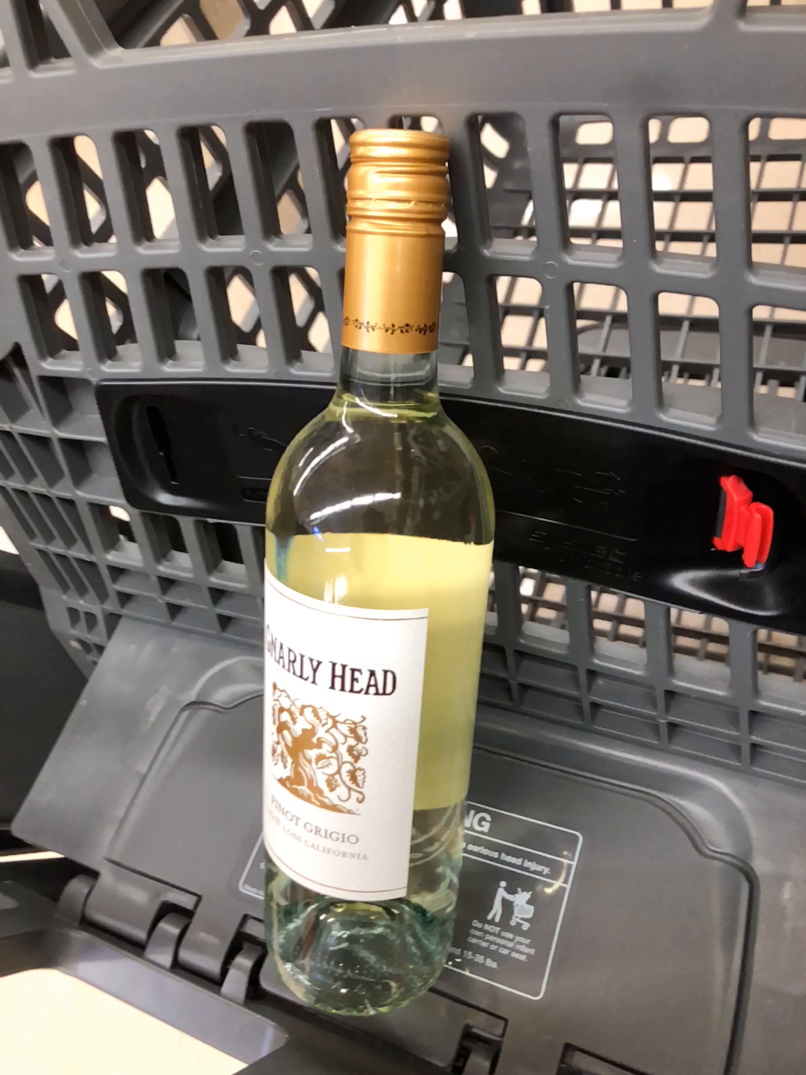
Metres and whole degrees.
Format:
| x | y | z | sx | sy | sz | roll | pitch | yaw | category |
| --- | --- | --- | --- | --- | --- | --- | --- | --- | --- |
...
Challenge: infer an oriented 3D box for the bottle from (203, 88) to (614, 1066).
| x | y | z | sx | sy | sz | roll | pitch | yaw | category |
| --- | --- | --- | --- | --- | --- | --- | --- | --- | --- |
| -0.005 | 0.017 | 0.288 | 0.080 | 0.070 | 0.280 | 15 | 110 | 27 | bottle |
